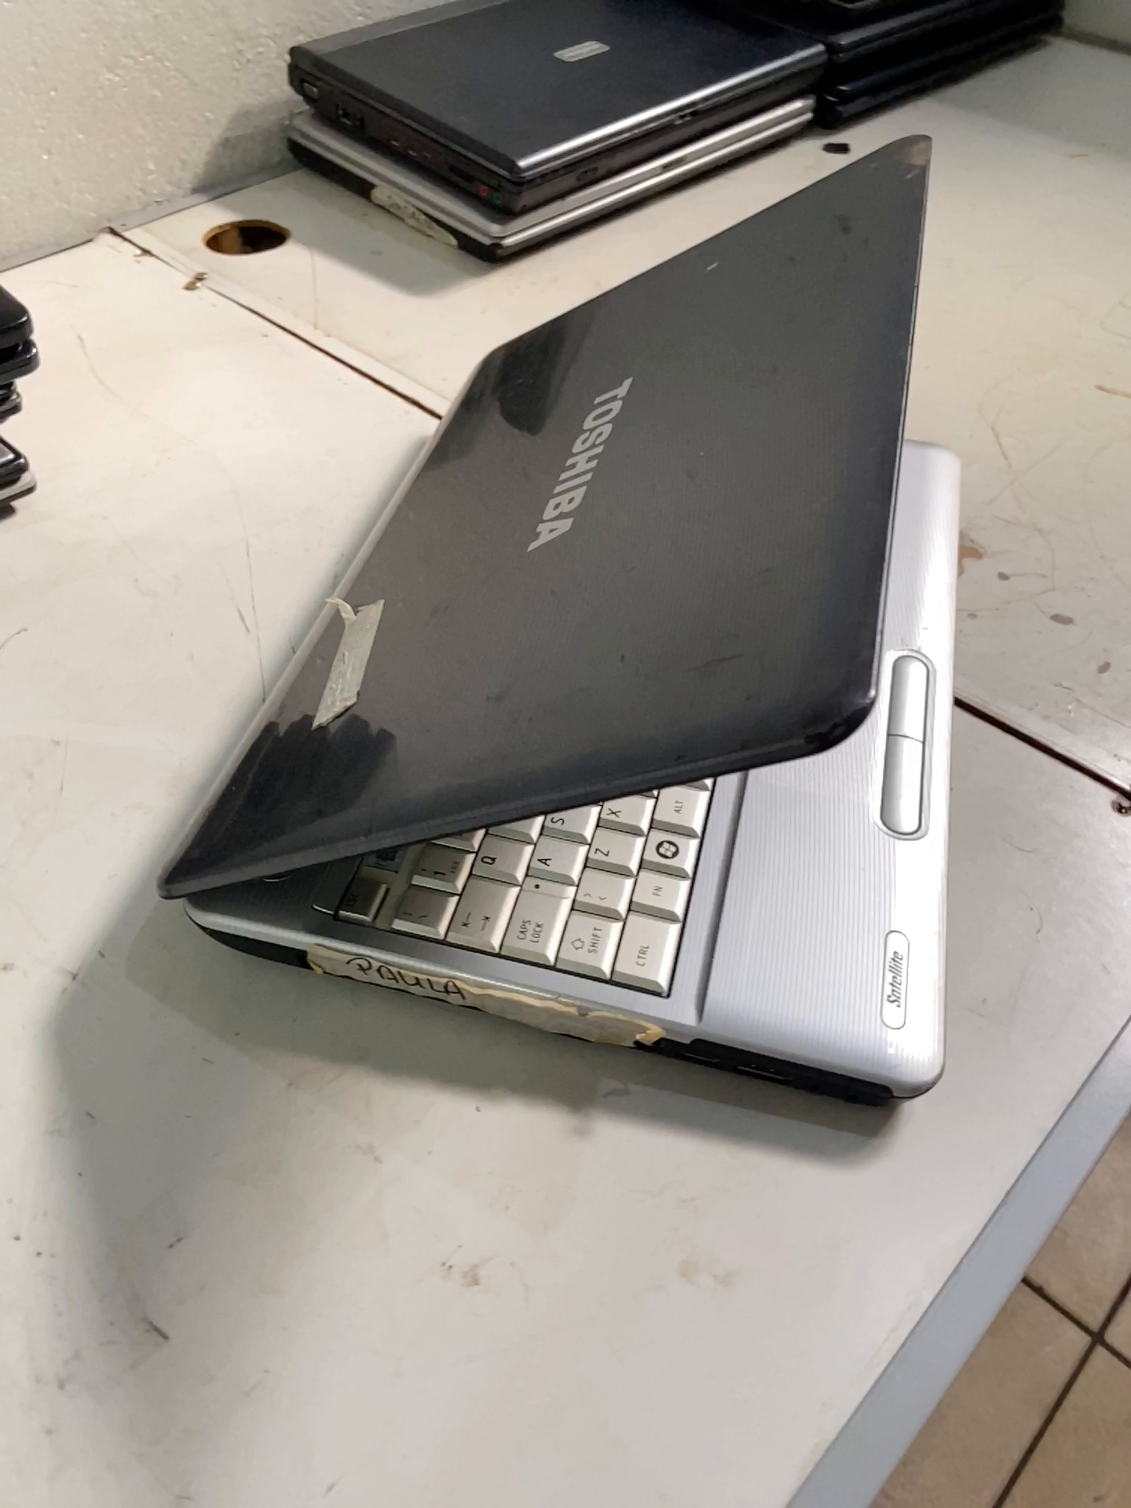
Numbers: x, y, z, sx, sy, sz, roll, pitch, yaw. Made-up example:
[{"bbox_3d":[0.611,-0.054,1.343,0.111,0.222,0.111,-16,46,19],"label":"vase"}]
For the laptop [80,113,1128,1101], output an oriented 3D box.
[{"bbox_3d":[0.043,-0.098,0.455,0.255,0.143,0.373,11,46,8],"label":"laptop"}]
